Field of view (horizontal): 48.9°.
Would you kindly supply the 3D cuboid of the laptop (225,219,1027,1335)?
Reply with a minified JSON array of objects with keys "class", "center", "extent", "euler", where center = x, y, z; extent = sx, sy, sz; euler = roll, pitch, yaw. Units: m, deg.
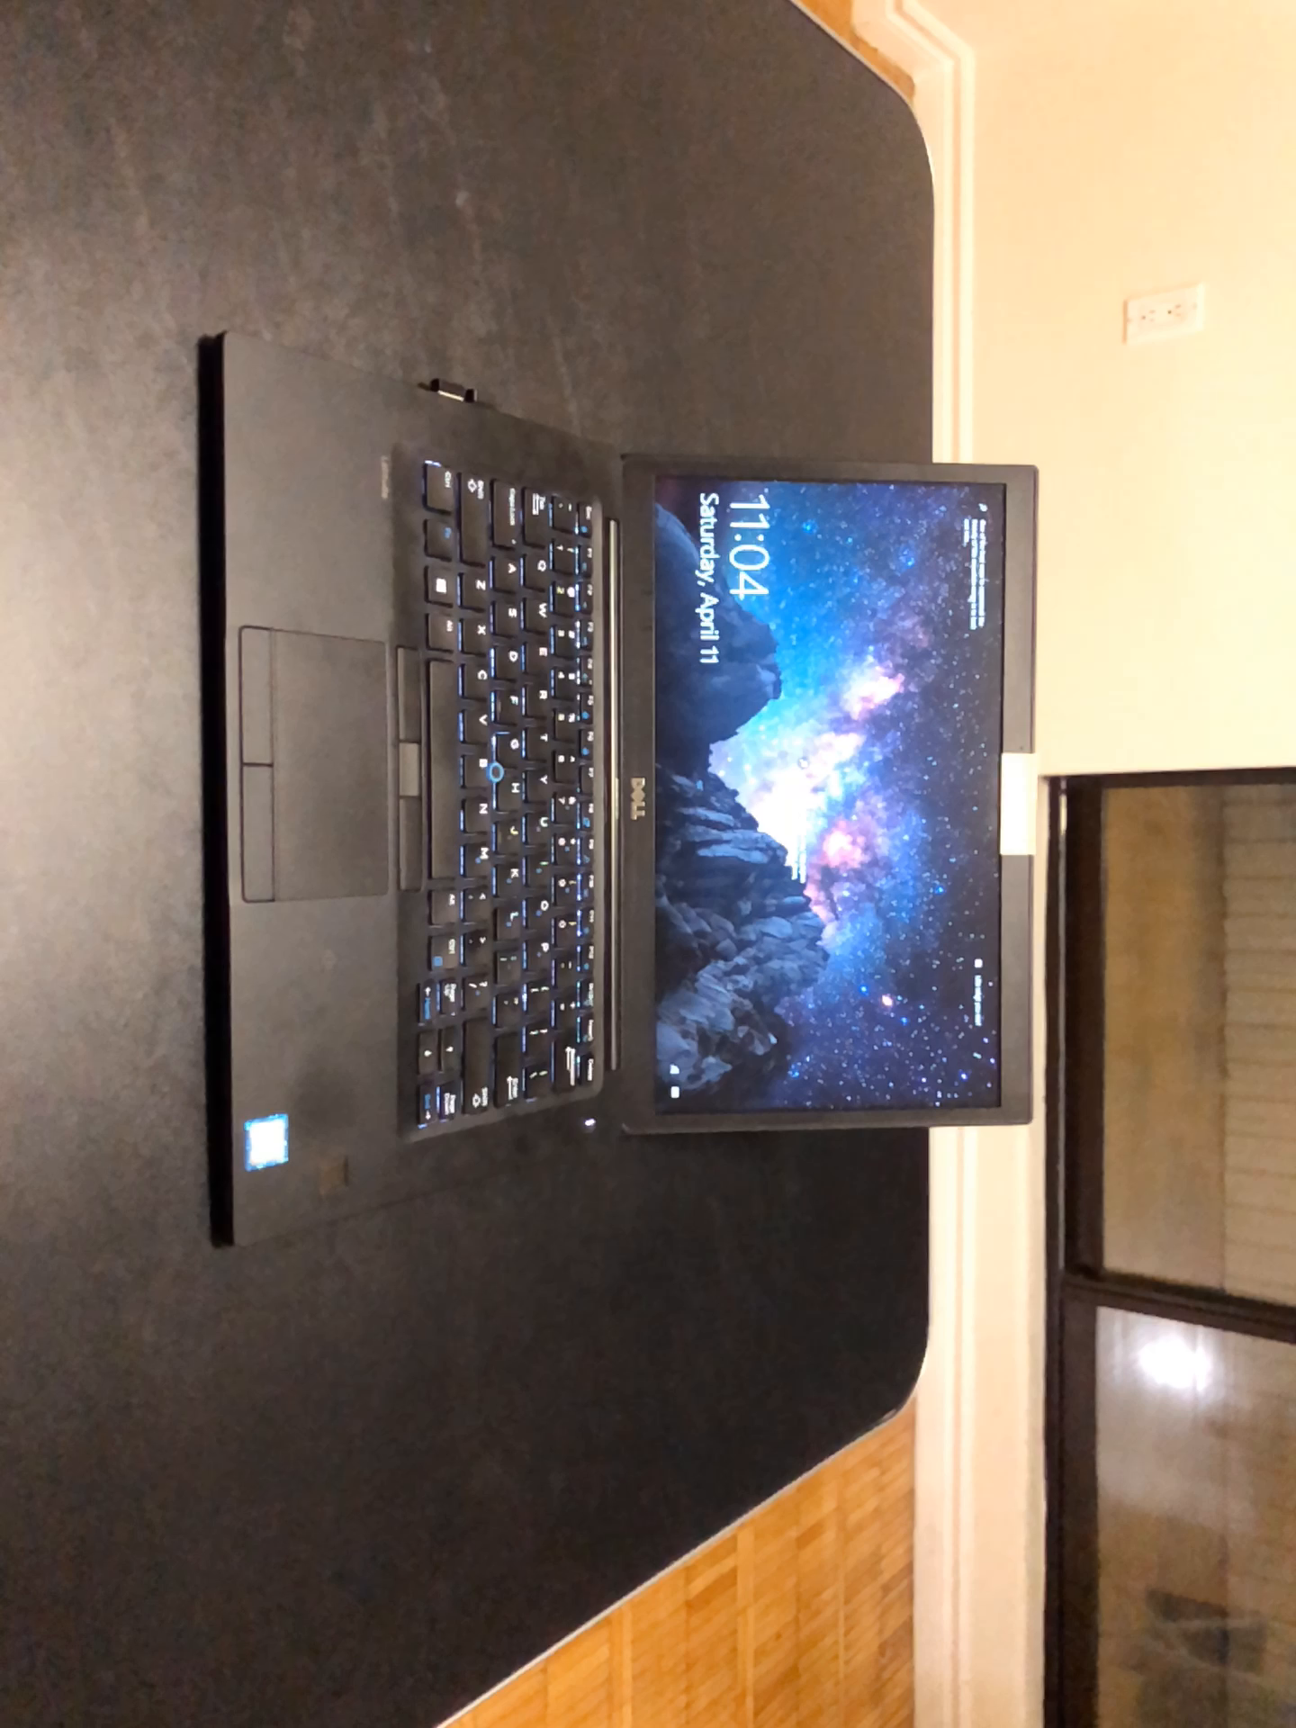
[{"class":"laptop","center":[0.022,-0.029,0.599],"extent":[0.370,0.140,0.319],"euler":[-3,93,-53]}]
